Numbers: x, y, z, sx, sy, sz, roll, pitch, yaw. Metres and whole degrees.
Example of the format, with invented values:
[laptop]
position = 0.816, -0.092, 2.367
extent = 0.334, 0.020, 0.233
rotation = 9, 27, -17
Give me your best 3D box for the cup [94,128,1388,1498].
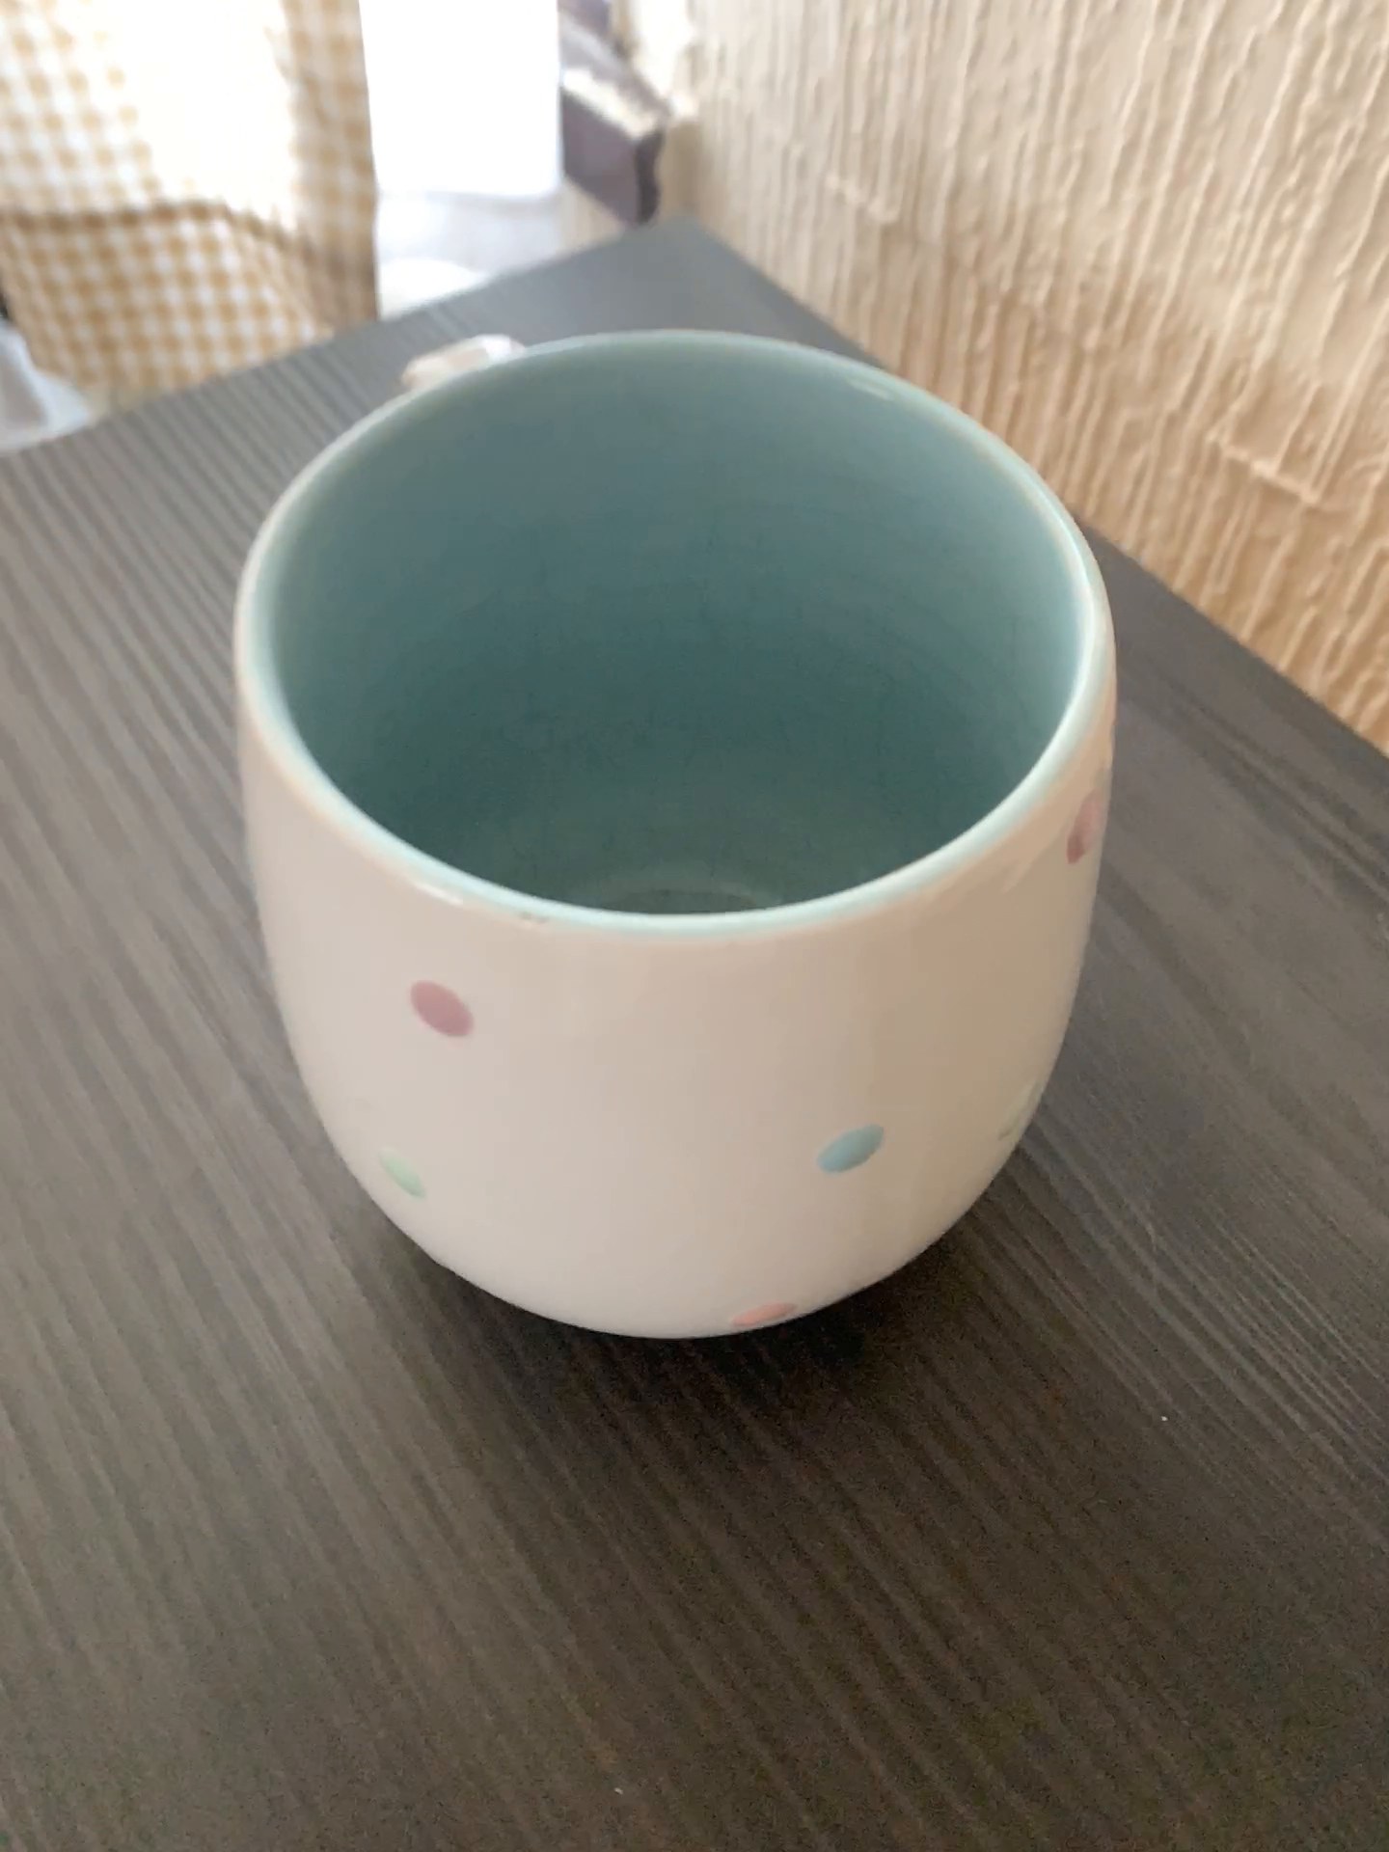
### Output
[cup]
position = -0.007, -0.018, 0.194
extent = 0.100, 0.099, 0.131
rotation = -15, 56, -12
